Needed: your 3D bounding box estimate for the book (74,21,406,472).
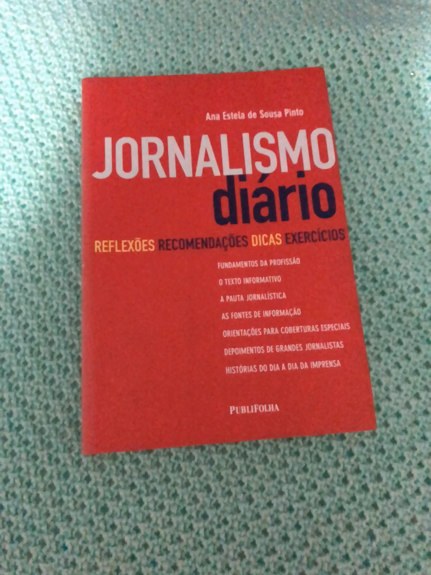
[{"bbox_3d":[0.003,-0.034,0.279,0.160,0.030,0.250,-5,75,-1],"label":"book"}]
